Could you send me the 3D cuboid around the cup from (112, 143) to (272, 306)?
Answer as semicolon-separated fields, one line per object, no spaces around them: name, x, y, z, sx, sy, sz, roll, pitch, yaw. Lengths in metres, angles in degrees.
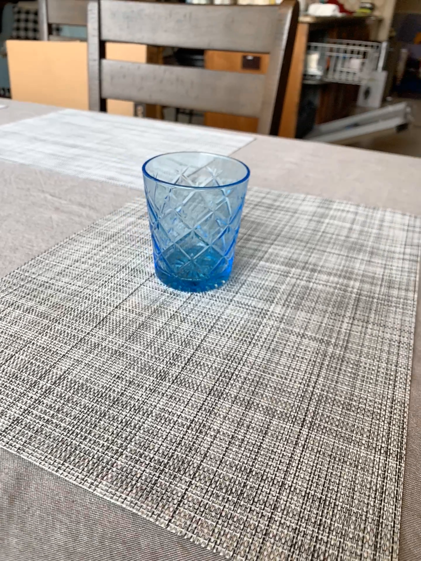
cup;-0.012;-0.051;0.353;0.087;0.085;0.093;2;32;-1
